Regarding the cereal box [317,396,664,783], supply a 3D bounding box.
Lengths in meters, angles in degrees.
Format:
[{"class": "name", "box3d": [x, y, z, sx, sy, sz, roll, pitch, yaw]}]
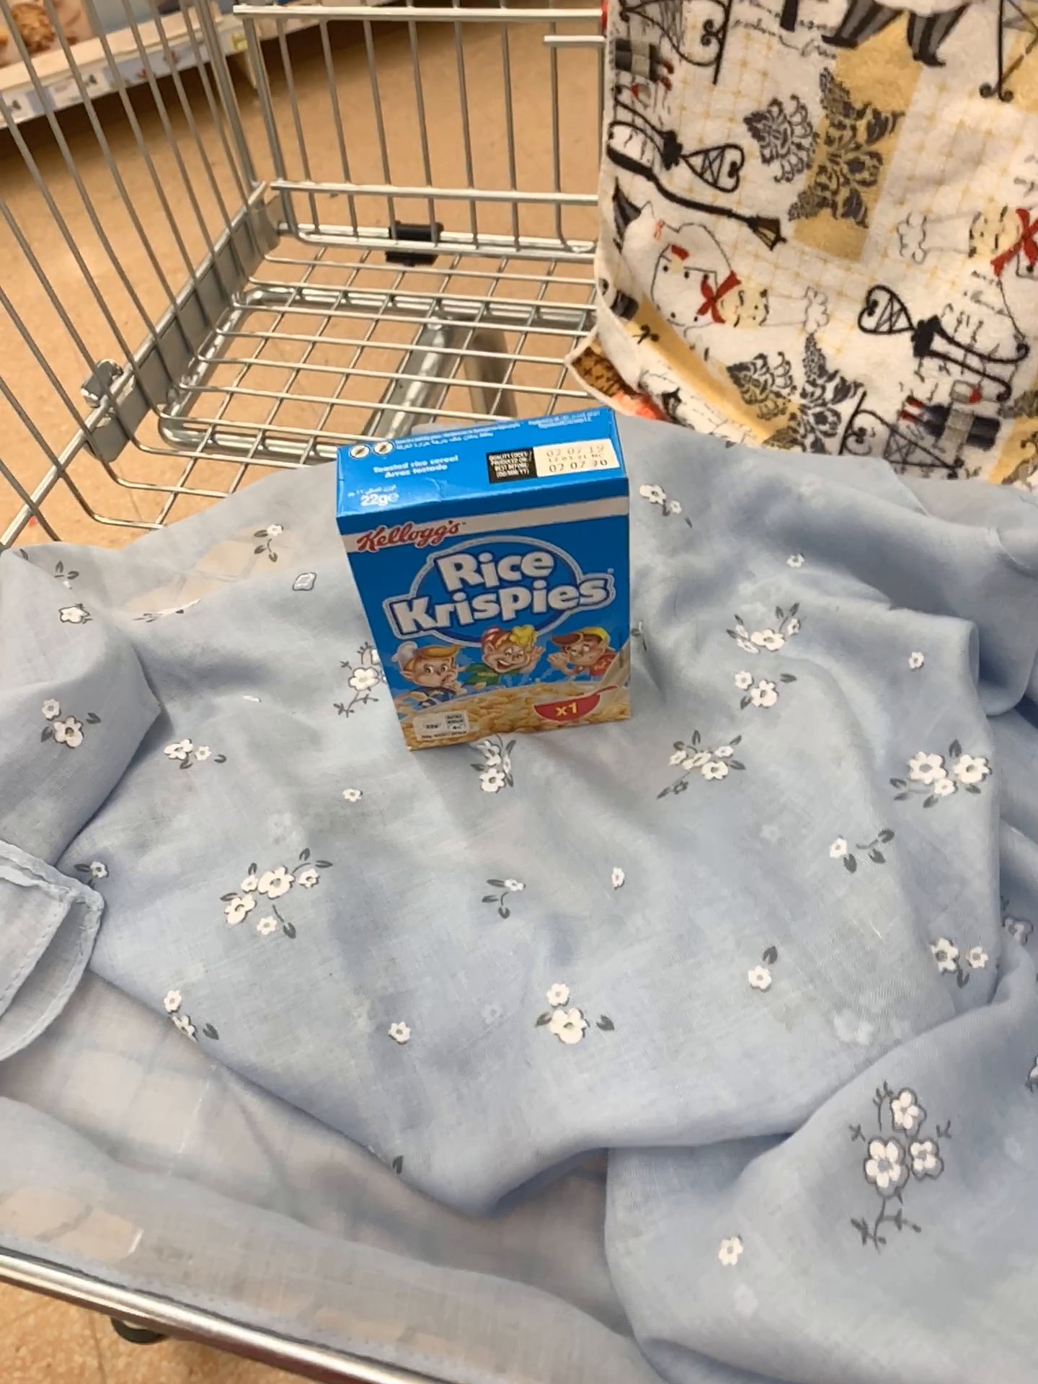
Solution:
[{"class": "cereal box", "box3d": [-0.004, -0.028, 0.376, 0.100, 0.139, 0.040, -9, 55, 0]}]
